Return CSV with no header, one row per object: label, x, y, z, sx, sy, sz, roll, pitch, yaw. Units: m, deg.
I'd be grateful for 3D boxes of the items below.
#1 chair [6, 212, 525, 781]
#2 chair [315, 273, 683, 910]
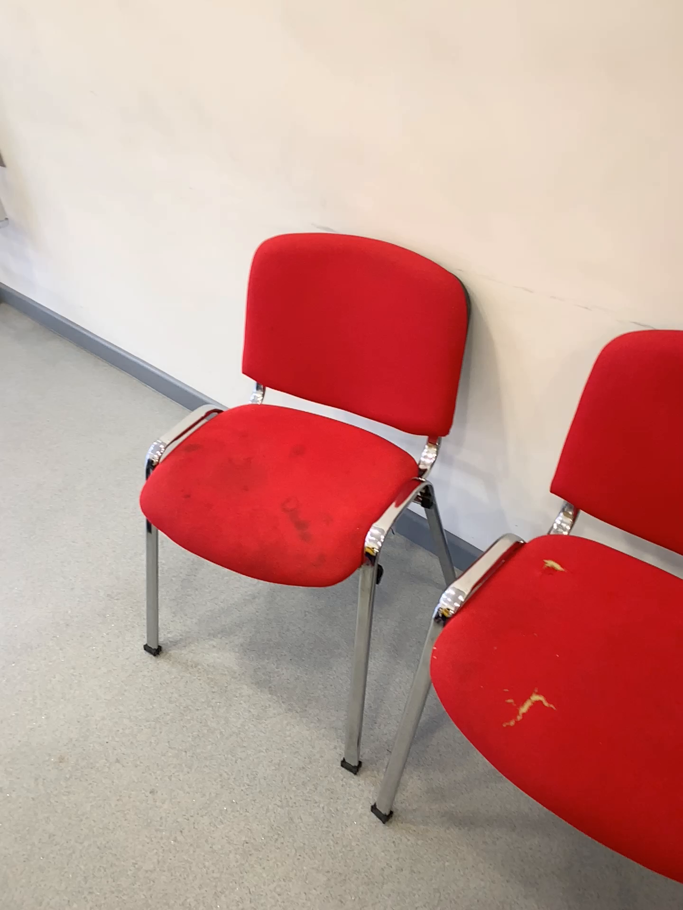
chair,-0.075,0.042,1.376,0.599,0.753,0.632,19,45,27
chair,0.407,0.290,0.995,0.570,0.792,0.590,29,51,35
